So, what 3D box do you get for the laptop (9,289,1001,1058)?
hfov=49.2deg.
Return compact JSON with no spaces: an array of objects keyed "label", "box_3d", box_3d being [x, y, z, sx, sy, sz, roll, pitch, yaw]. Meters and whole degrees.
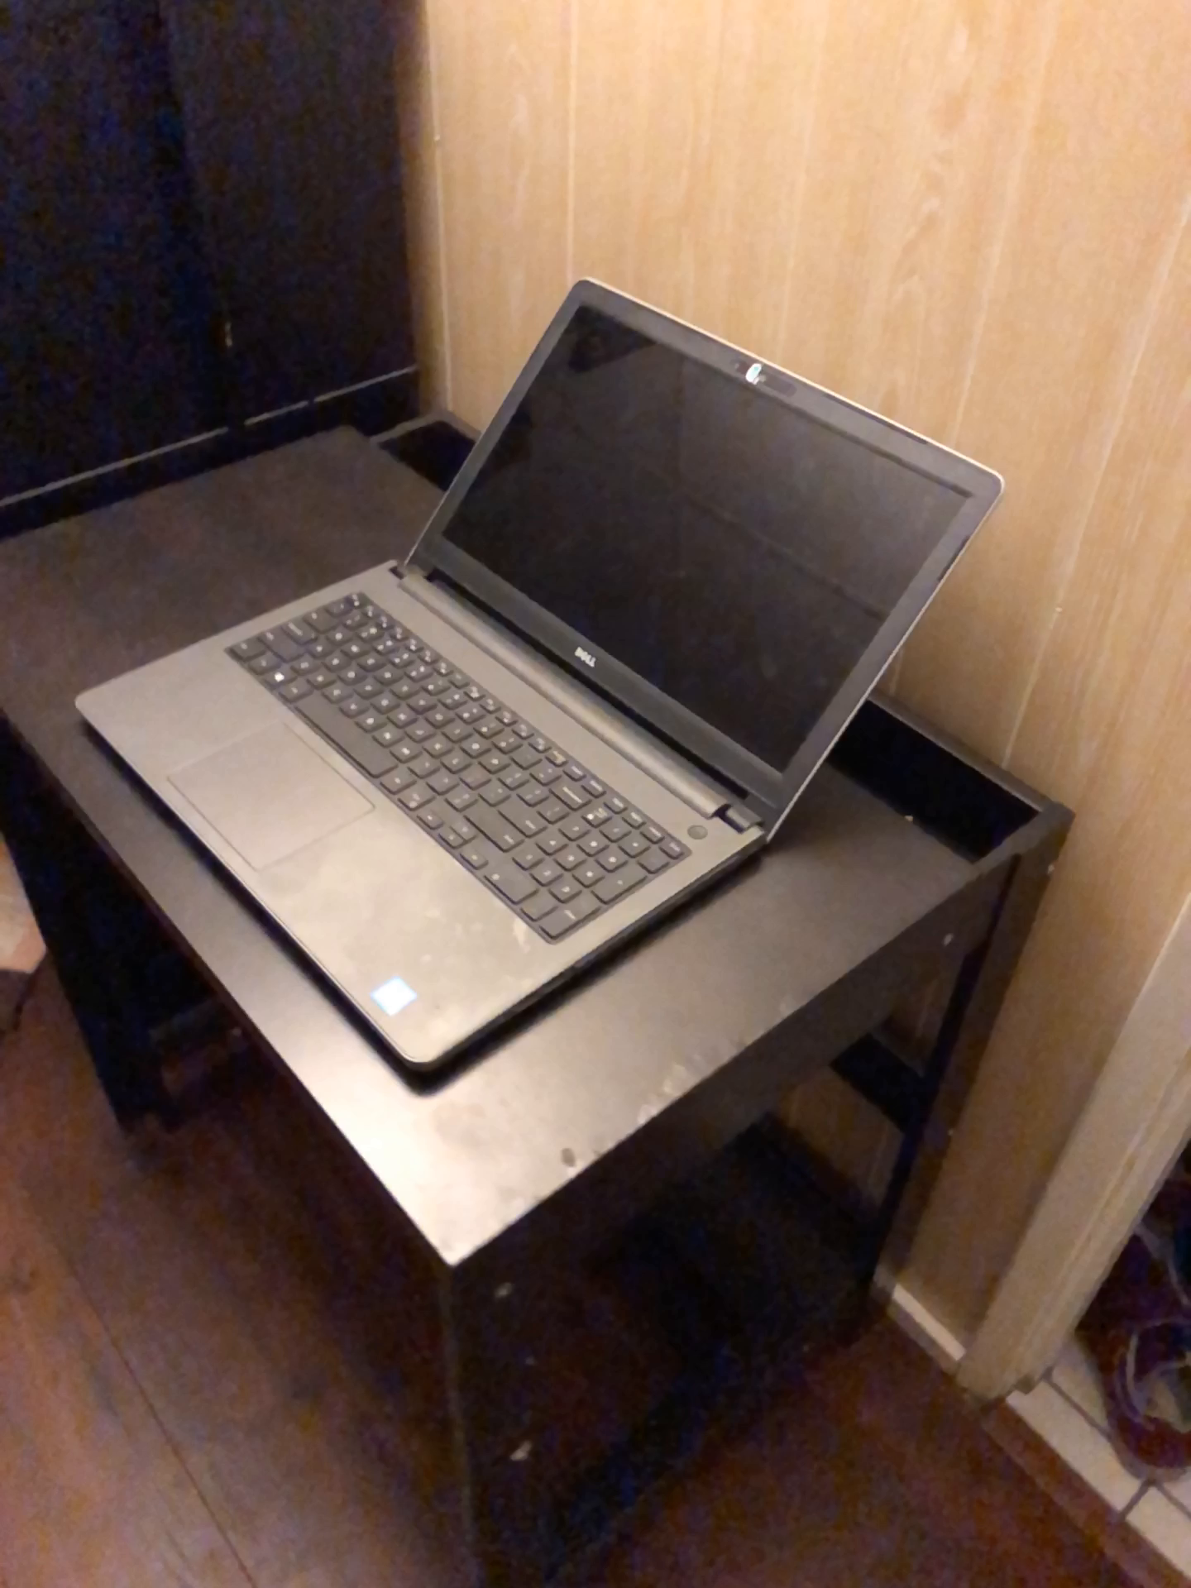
[{"label":"laptop","box_3d":[-0.050,-0.119,0.797,0.427,0.172,0.369,-30,51,-31]}]
